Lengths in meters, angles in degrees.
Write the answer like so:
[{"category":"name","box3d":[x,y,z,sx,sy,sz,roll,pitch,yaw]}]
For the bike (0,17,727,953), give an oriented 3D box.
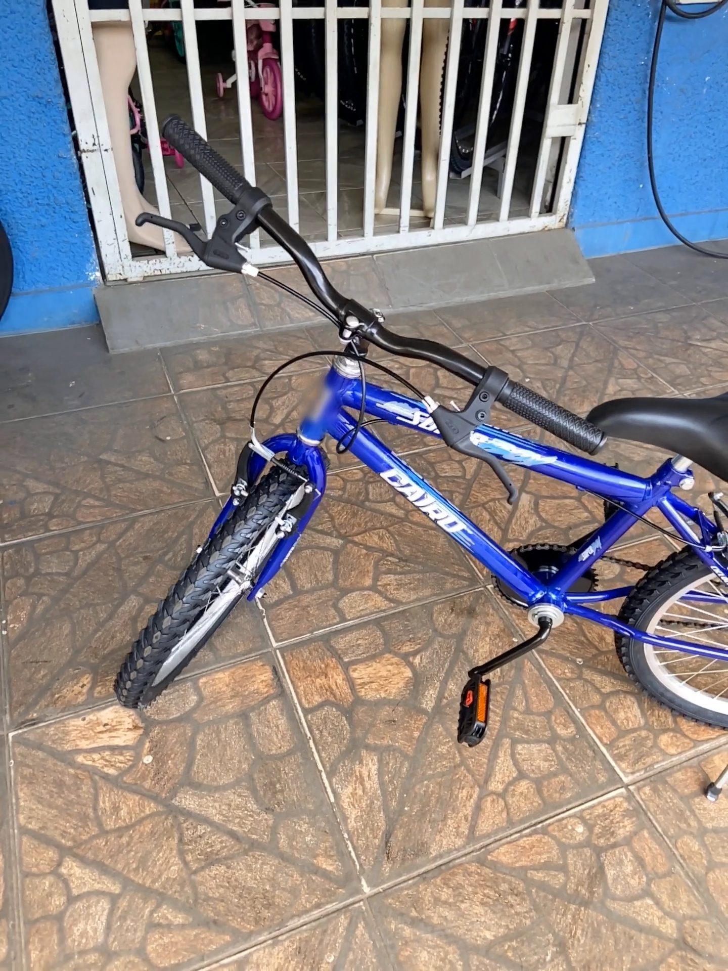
[{"category":"bike","box3d":[0.278,0.062,0.912,1.181,0.949,0.547,2,37,-2]}]
